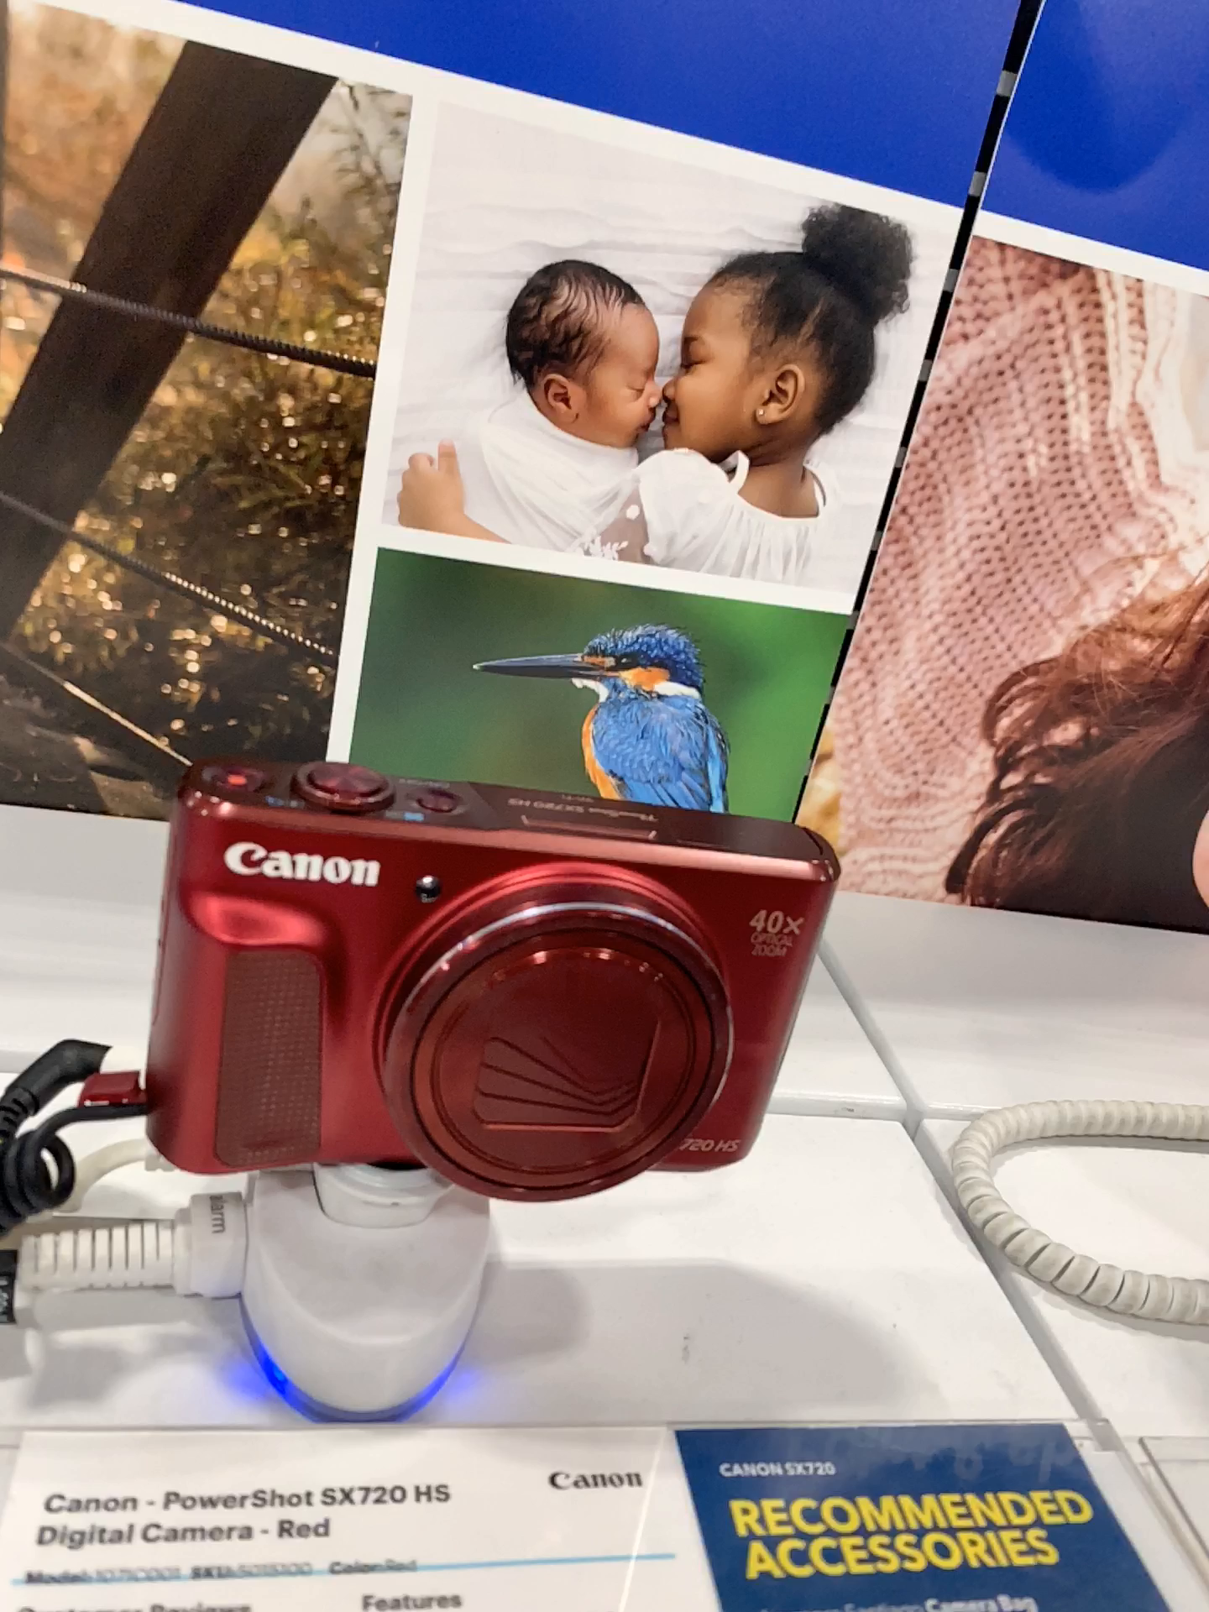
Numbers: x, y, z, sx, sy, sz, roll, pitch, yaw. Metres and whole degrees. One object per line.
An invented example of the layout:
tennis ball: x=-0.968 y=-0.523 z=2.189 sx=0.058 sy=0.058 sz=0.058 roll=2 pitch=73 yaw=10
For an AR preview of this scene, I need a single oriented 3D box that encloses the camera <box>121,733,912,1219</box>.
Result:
camera: x=-0.016 y=0.030 z=0.204 sx=0.110 sy=0.060 sz=0.037 roll=7 pitch=21 yaw=-17
